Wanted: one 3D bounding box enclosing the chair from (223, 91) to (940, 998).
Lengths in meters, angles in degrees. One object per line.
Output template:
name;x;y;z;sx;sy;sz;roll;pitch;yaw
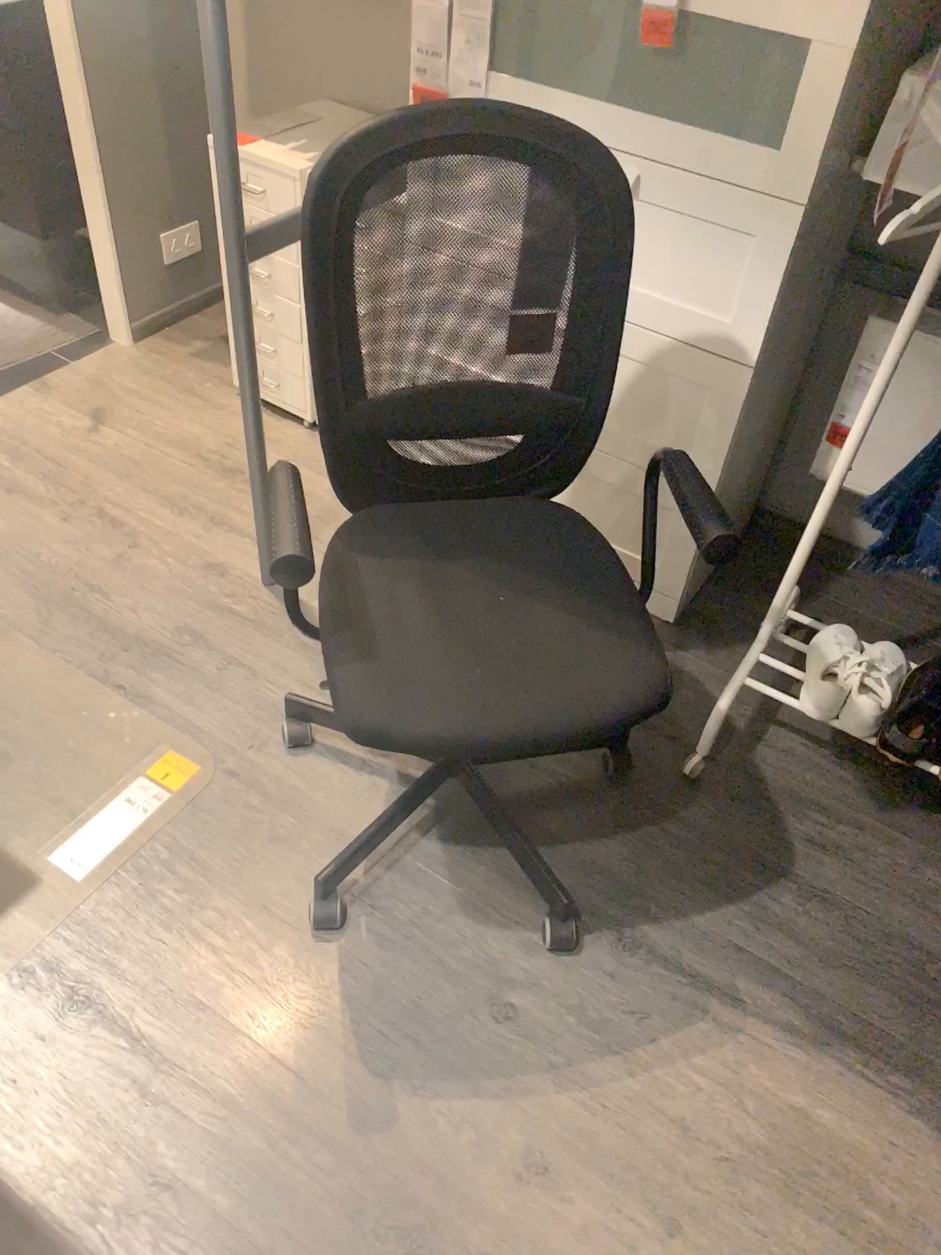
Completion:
chair;0.044;-0.083;1.311;0.640;0.976;0.683;-4;45;-10
